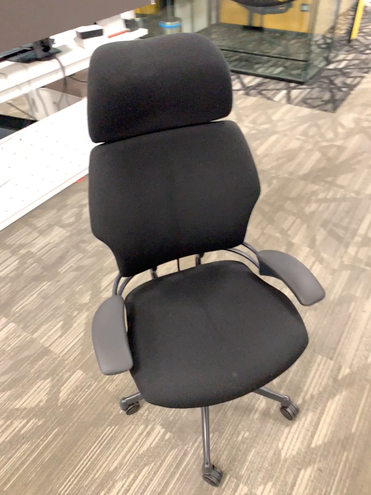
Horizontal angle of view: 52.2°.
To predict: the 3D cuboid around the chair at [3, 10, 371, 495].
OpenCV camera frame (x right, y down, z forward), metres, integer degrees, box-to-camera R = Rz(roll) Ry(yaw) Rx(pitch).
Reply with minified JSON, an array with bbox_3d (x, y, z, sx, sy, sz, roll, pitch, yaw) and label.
[{"bbox_3d":[0.049,0.066,1.081,0.691,1.090,0.776,-16,44,-14],"label":"chair"}]
